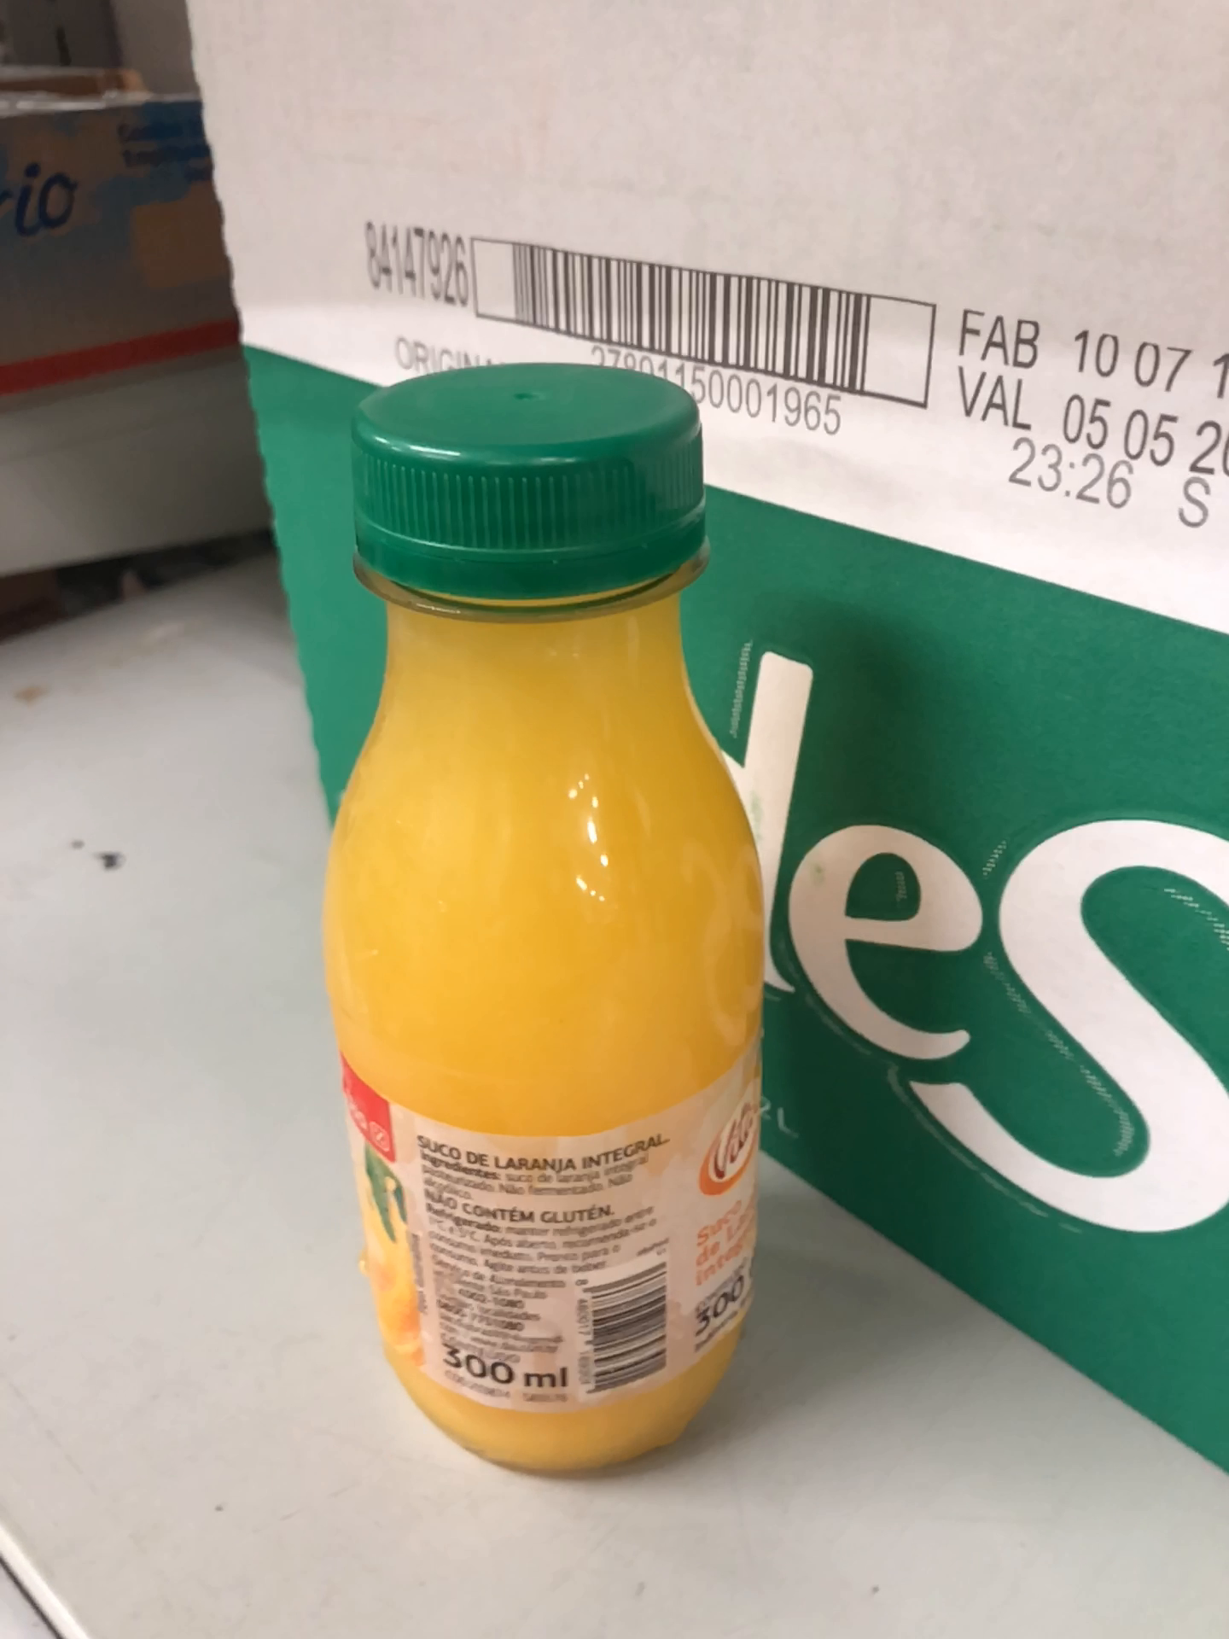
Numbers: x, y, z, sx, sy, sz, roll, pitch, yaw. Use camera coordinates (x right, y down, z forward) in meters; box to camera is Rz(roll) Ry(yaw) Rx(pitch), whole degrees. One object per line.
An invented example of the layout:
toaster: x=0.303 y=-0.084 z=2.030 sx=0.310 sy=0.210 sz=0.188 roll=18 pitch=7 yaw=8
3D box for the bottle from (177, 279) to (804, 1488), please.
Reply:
bottle: x=-0.011 y=0.013 z=0.203 sx=0.060 sy=0.159 sz=0.071 roll=-5 pitch=30 yaw=-3
